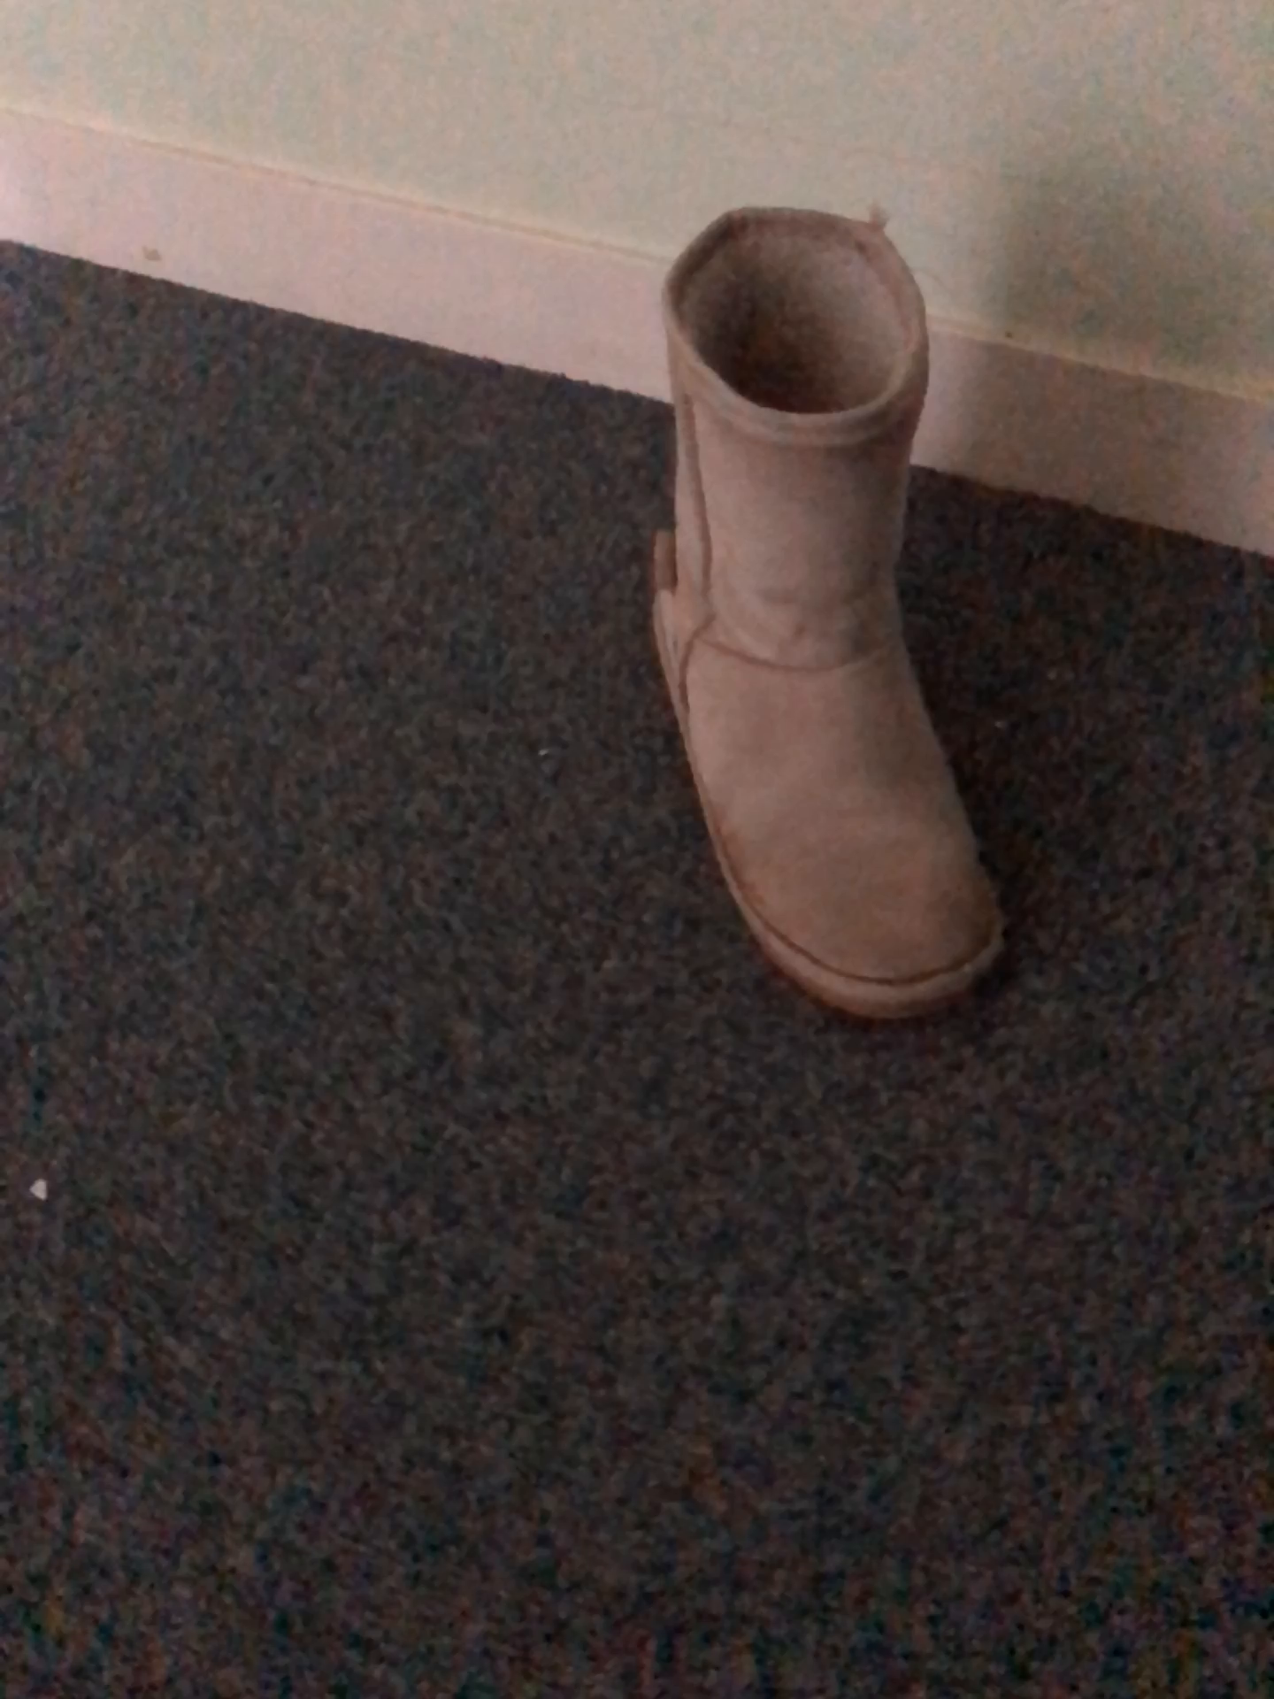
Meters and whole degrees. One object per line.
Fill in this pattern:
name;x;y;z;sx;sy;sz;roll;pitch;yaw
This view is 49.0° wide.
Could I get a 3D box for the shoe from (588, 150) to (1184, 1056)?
shoe;0.074;-0.097;0.558;0.120;0.209;0.271;-12;56;-5
